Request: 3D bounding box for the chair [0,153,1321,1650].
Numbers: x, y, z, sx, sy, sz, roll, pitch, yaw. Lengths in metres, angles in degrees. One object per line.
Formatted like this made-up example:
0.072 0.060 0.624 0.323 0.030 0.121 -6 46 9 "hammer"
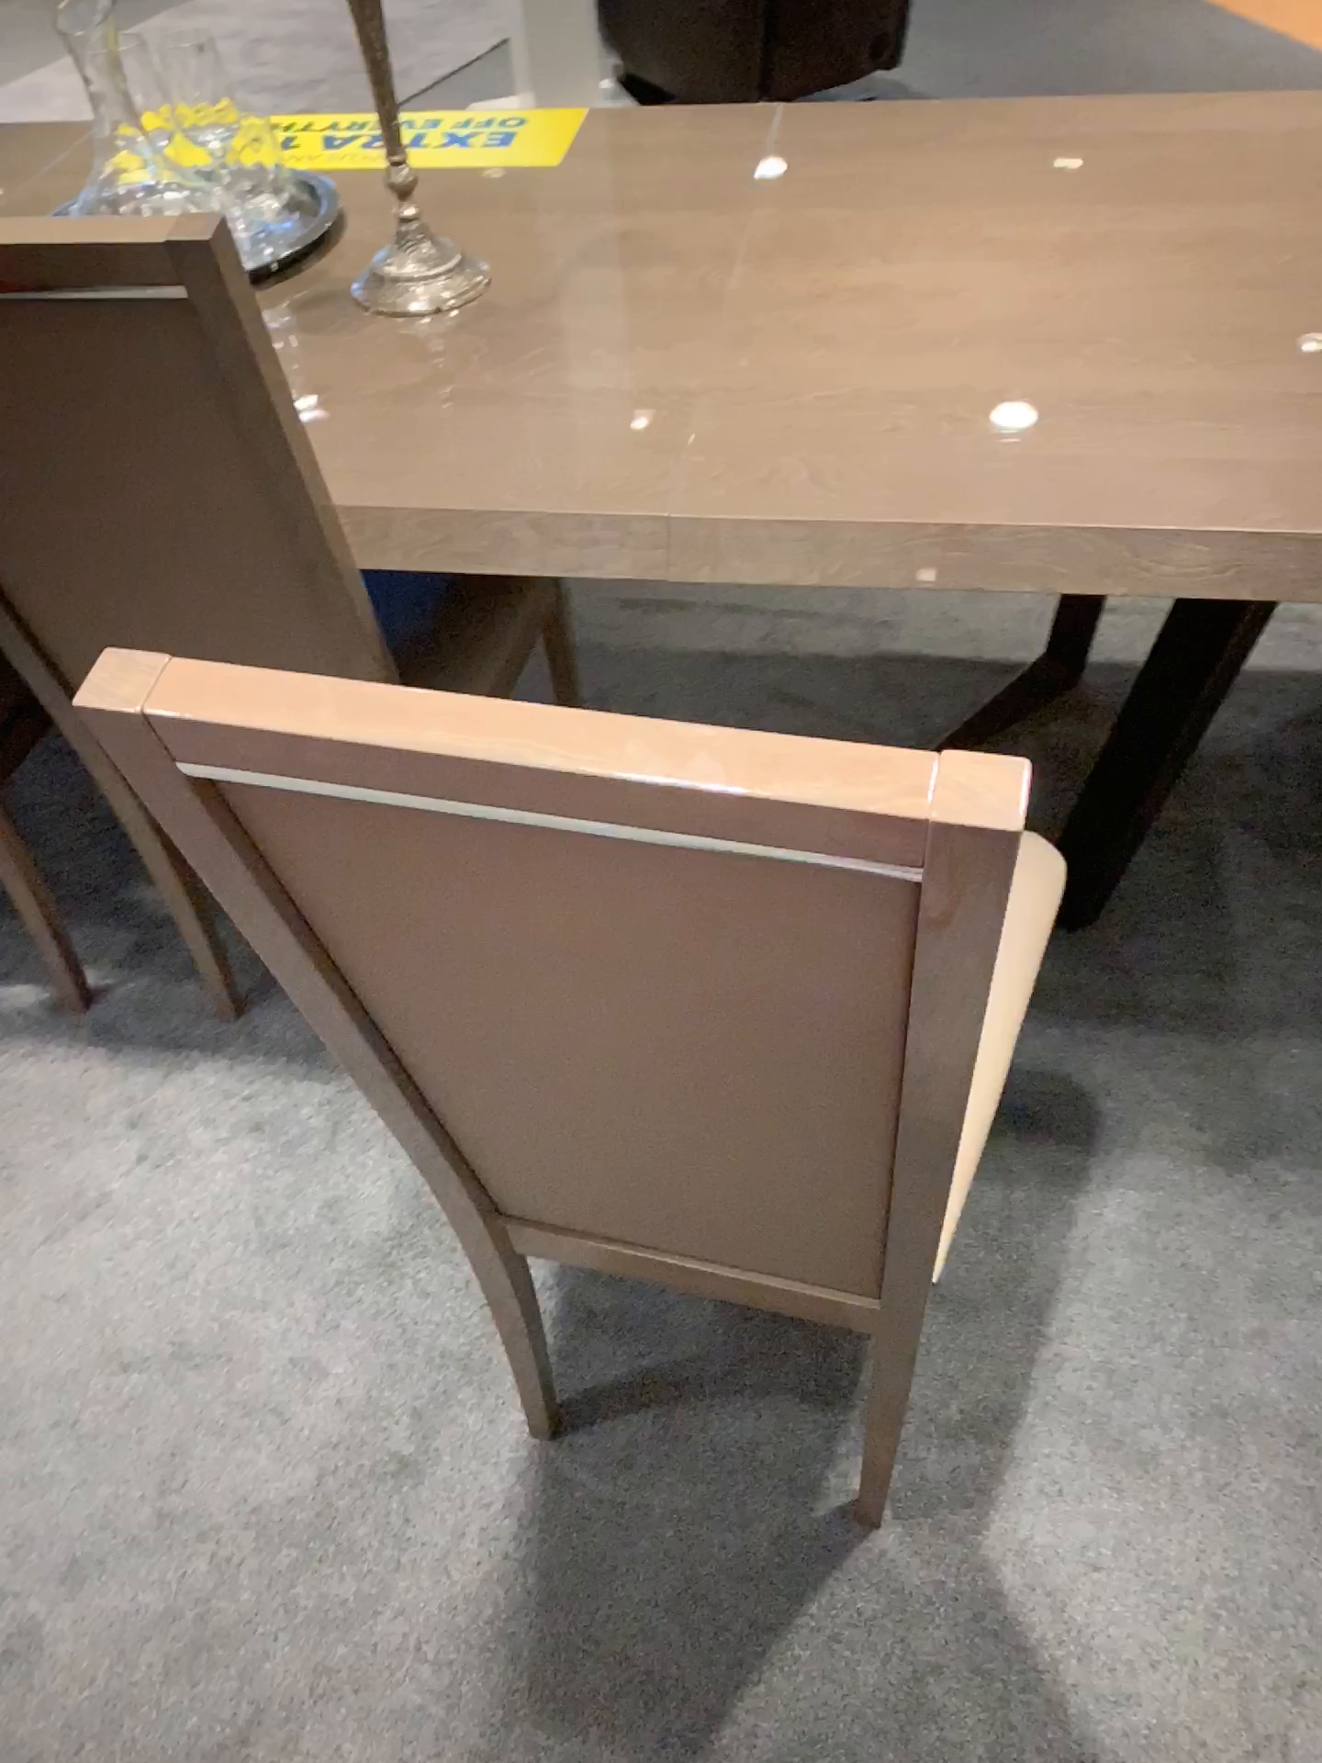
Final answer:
0.056 0.068 1.017 0.539 0.946 0.590 5 47 11 "chair"
